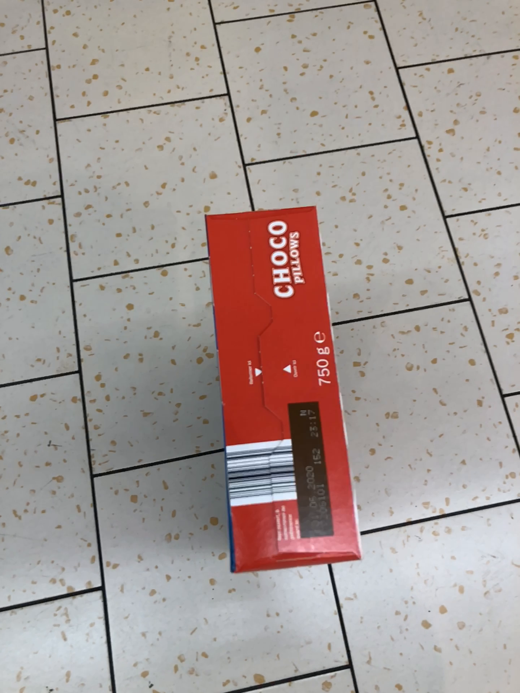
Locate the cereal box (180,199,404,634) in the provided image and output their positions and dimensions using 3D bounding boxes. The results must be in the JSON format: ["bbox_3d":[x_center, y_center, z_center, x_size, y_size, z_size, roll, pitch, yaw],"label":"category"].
[{"bbox_3d":[0.009,0.058,0.397,0.090,0.240,0.210,-5,73,-2],"label":"cereal box"}]
